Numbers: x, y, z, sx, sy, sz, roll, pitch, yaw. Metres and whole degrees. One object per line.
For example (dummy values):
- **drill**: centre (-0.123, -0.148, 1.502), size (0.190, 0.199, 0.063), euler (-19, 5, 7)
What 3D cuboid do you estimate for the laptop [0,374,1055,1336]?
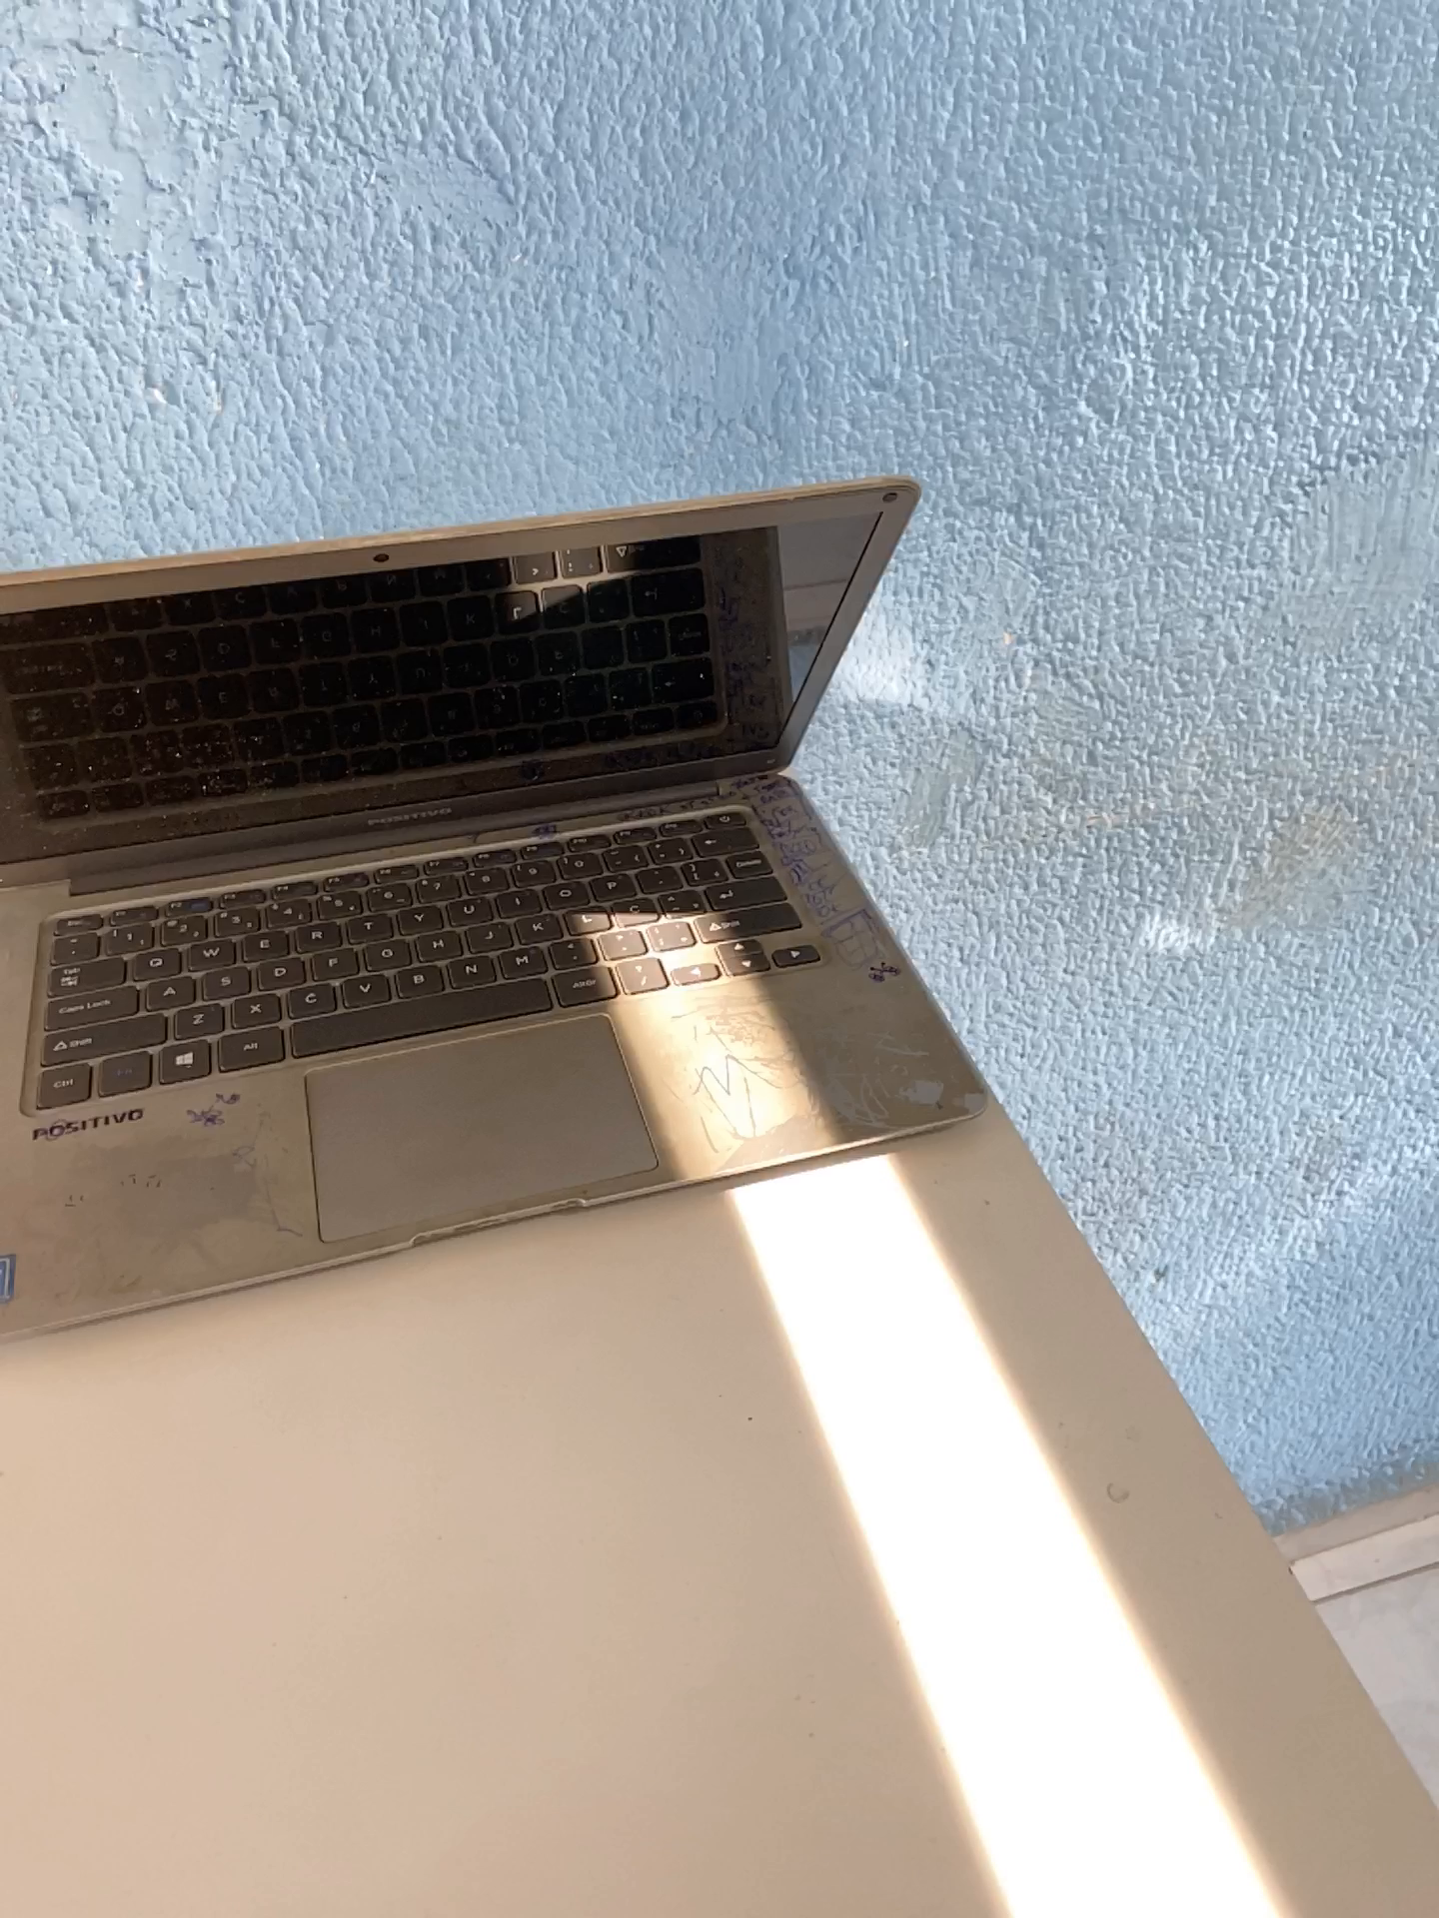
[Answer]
- **laptop**: centre (-0.099, -0.055, 0.475), size (0.326, 0.167, 0.213), euler (-10, 39, -12)
